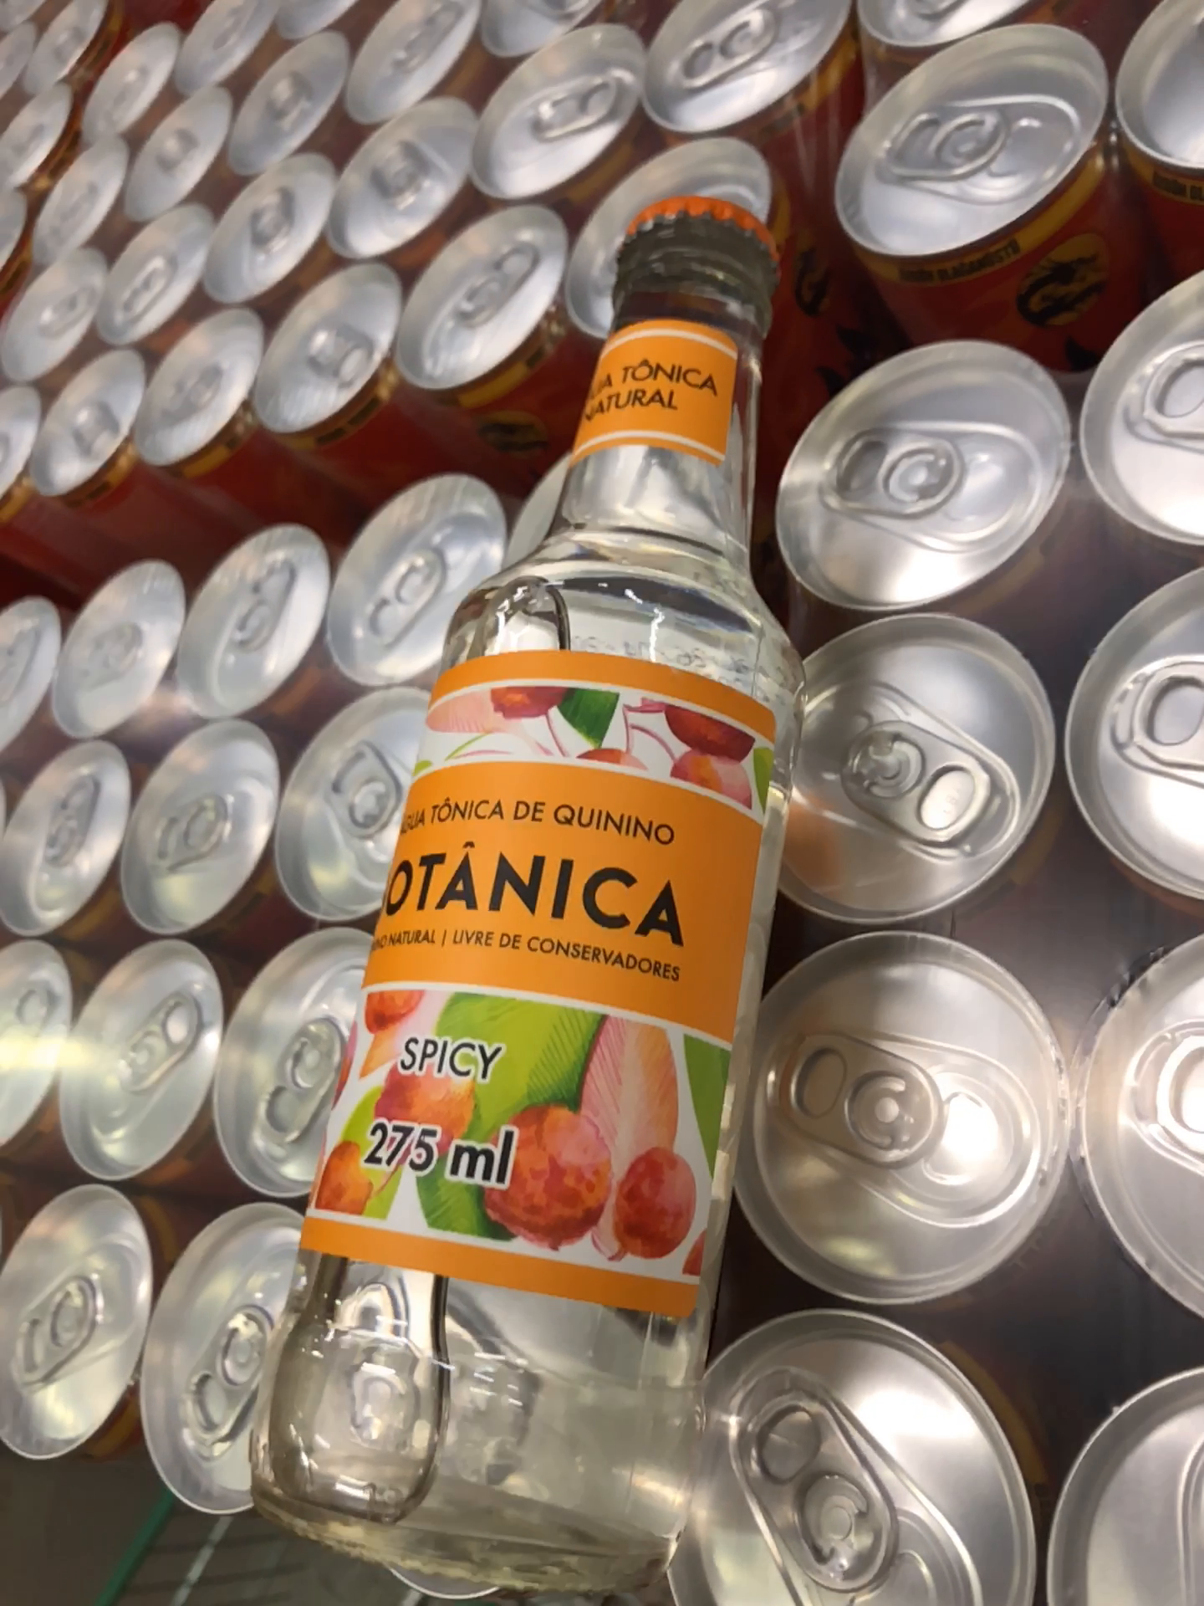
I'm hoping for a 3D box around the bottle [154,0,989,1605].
[{"bbox_3d":[0.005,-0.010,0.188,0.070,0.050,0.210,-3,70,35],"label":"bottle"}]
